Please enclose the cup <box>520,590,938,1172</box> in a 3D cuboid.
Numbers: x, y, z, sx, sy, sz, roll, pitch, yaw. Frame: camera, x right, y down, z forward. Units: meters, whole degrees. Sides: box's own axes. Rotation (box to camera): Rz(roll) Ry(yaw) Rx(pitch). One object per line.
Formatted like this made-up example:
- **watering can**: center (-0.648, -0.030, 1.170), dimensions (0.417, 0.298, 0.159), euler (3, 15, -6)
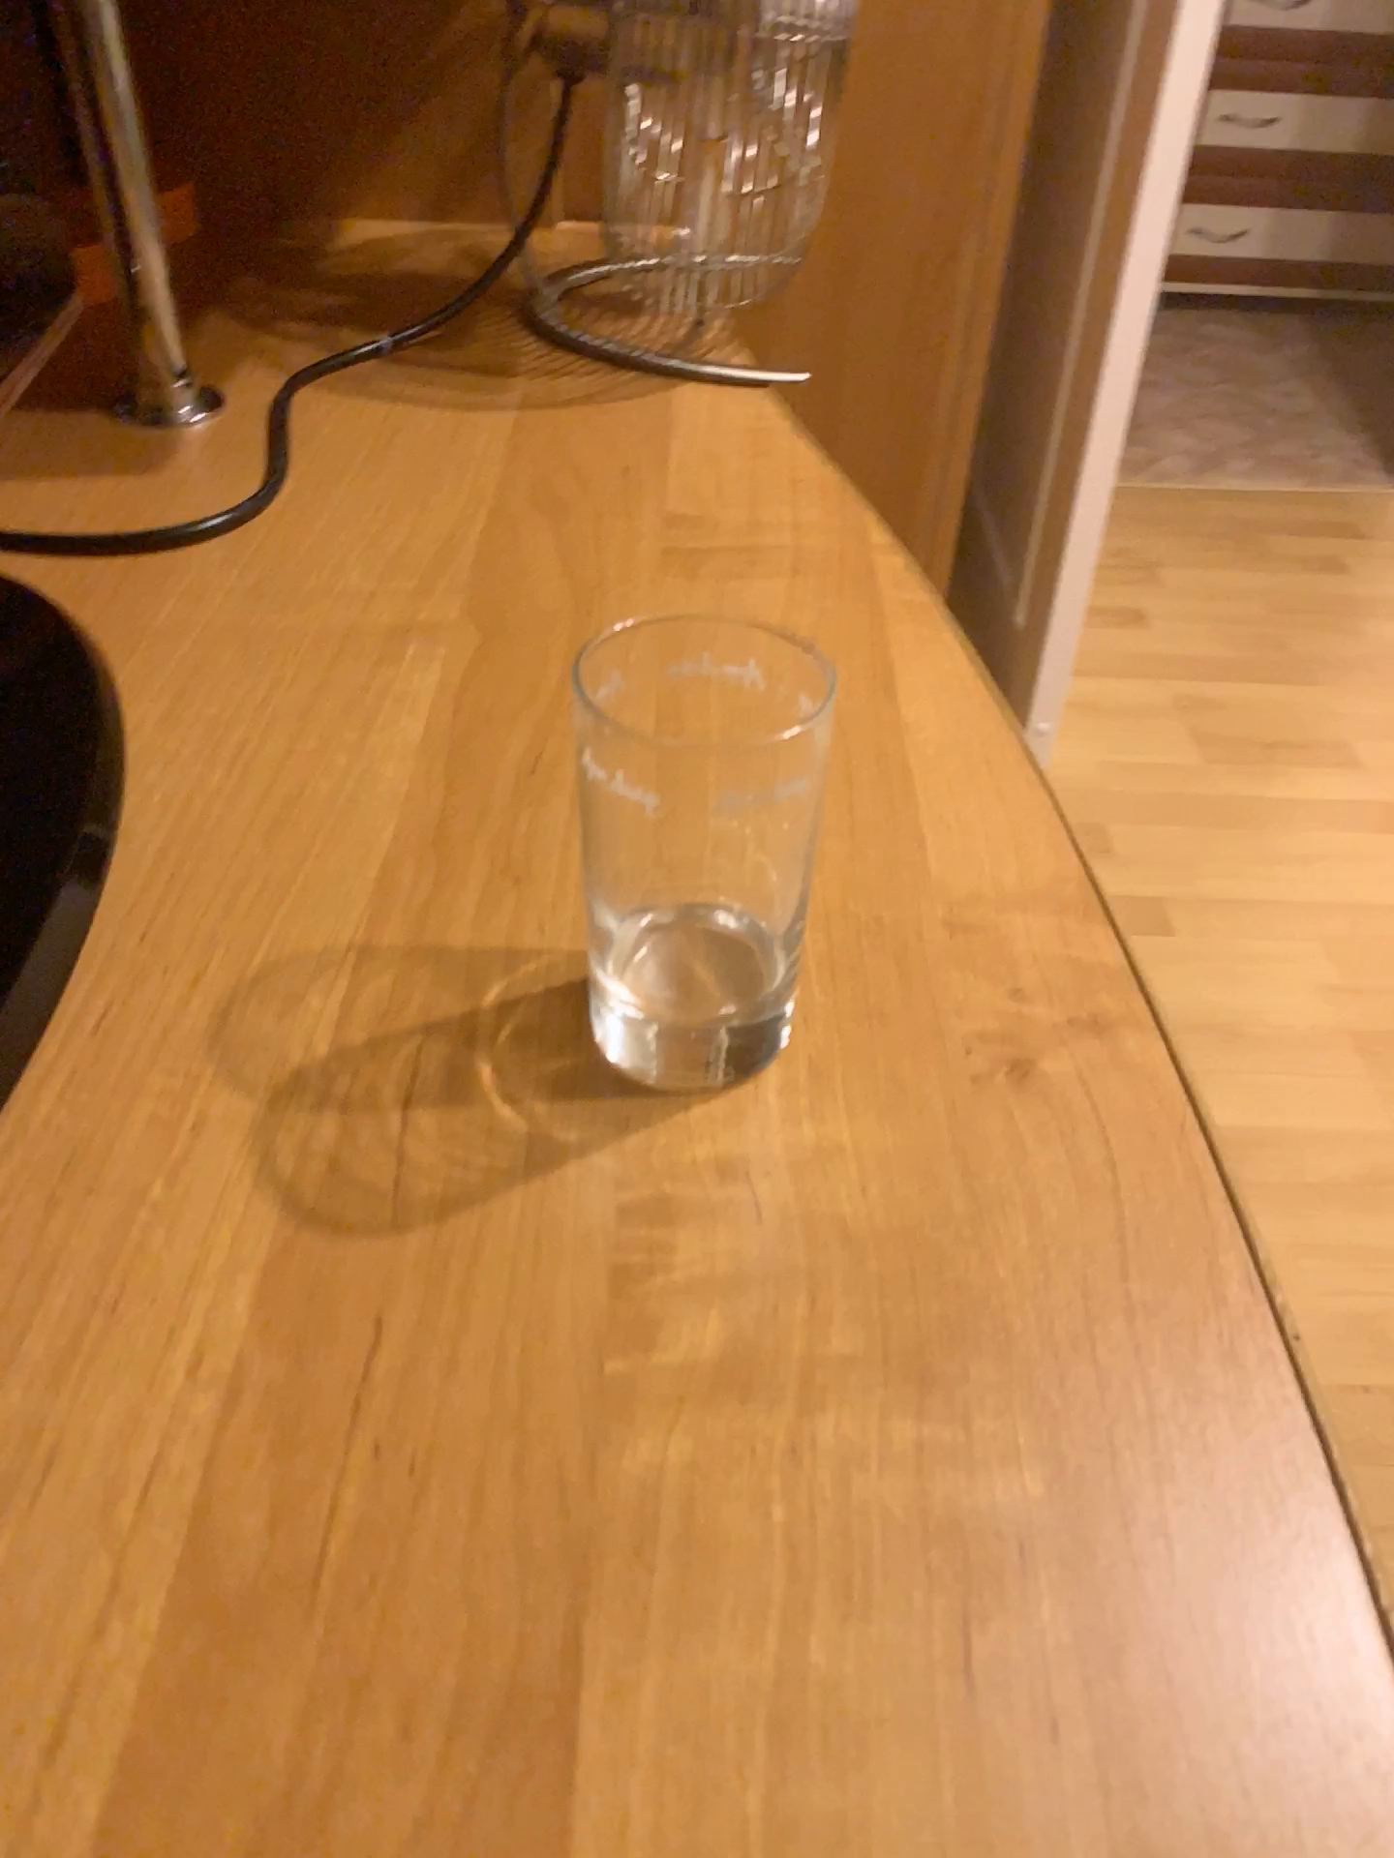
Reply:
- **cup**: center (0.004, -0.011, 0.320), dimensions (0.060, 0.099, 0.060), euler (1, 40, -1)
